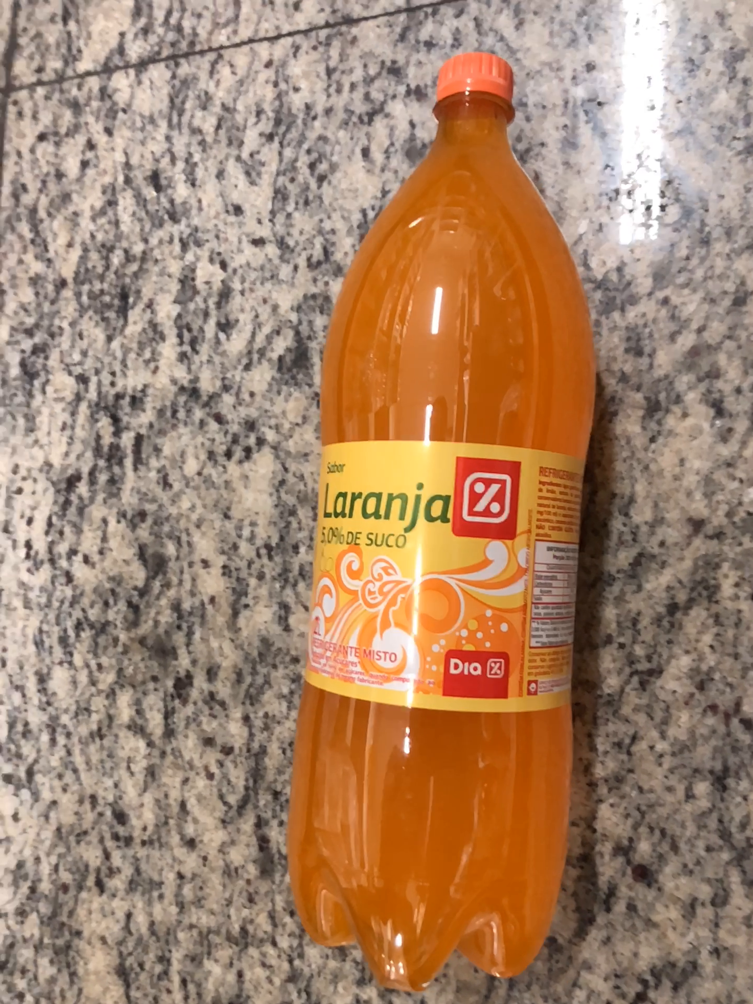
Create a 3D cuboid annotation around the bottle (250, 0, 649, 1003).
[{"bbox_3d":[0.034,-0.008,0.318,0.120,0.070,0.350,1,85,21],"label":"bottle"}]
